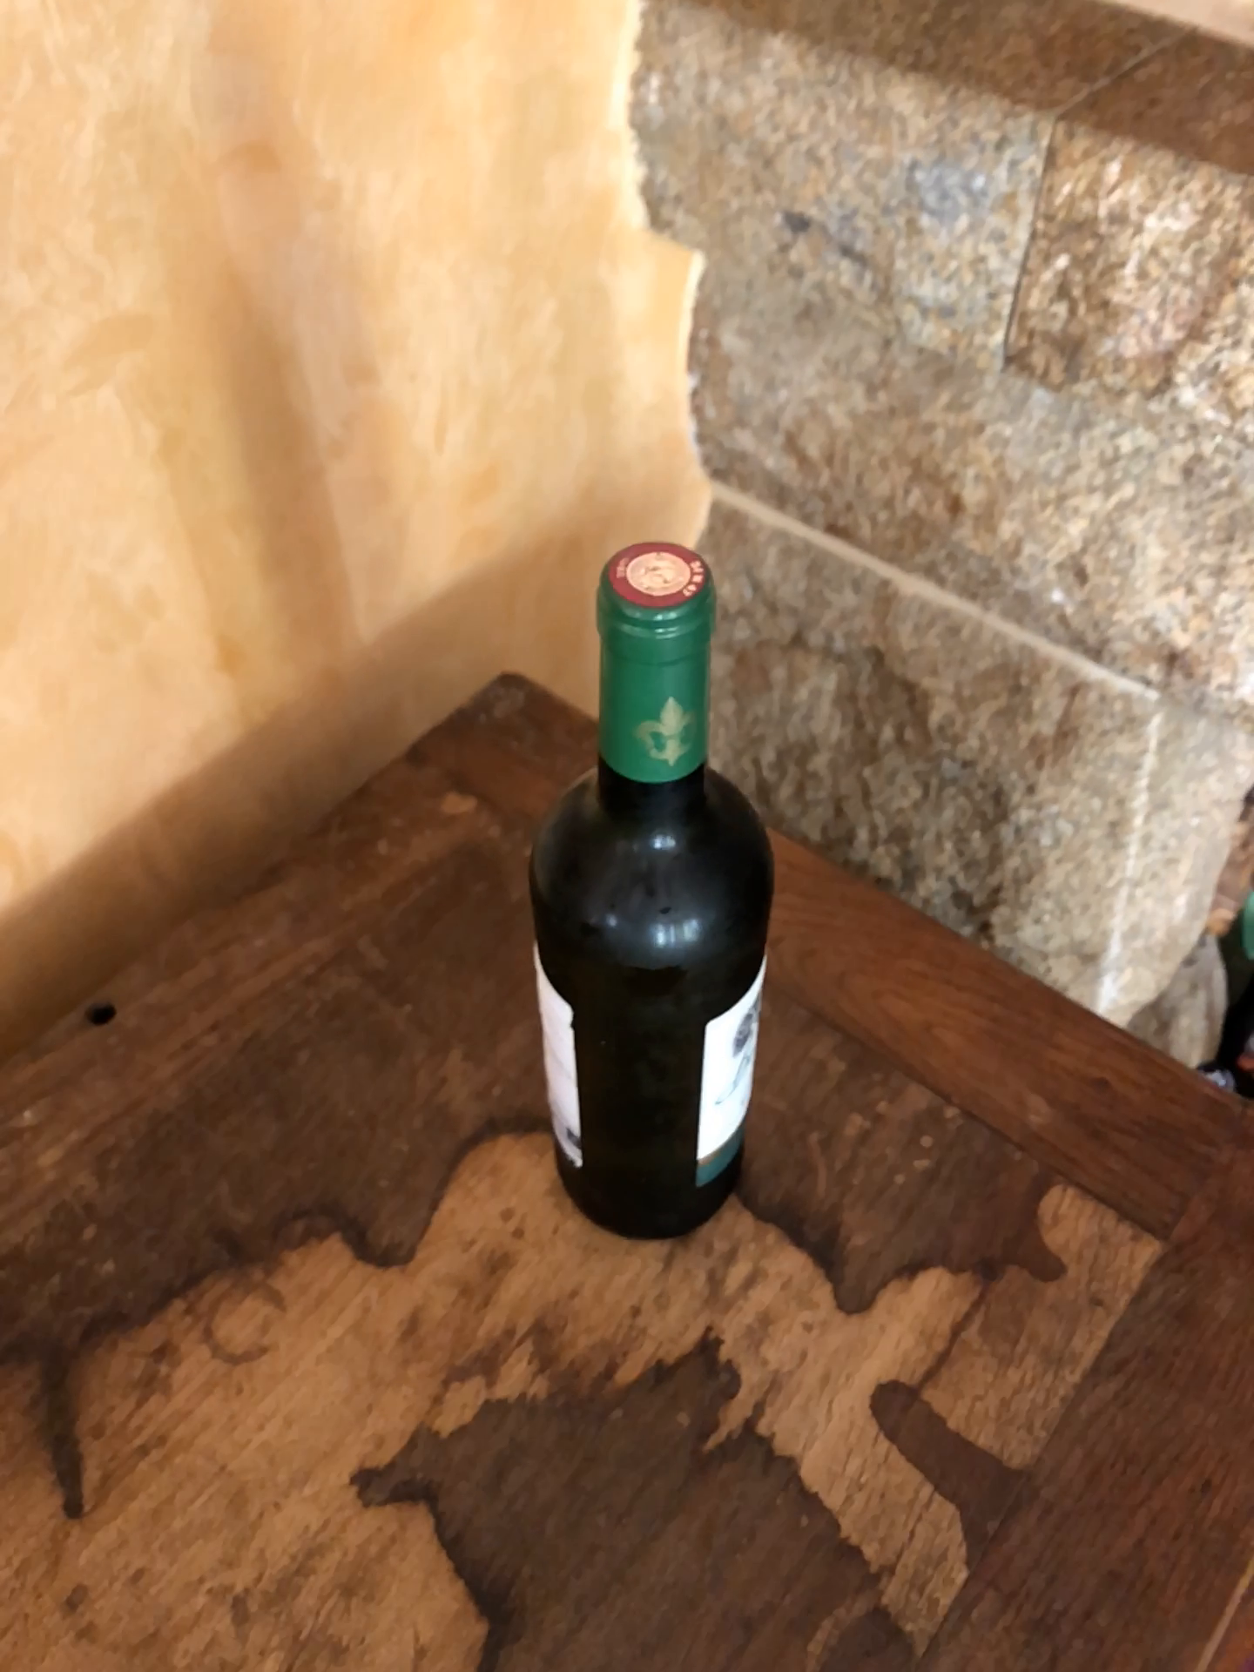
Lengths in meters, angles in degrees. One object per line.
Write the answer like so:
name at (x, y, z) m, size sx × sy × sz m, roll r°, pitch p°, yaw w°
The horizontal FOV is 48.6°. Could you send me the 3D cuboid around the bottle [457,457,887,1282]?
bottle at (0.013, 0.030, 0.421) m, size 0.090 × 0.268 × 0.091 m, roll 0°, pitch 49°, yaw 0°
